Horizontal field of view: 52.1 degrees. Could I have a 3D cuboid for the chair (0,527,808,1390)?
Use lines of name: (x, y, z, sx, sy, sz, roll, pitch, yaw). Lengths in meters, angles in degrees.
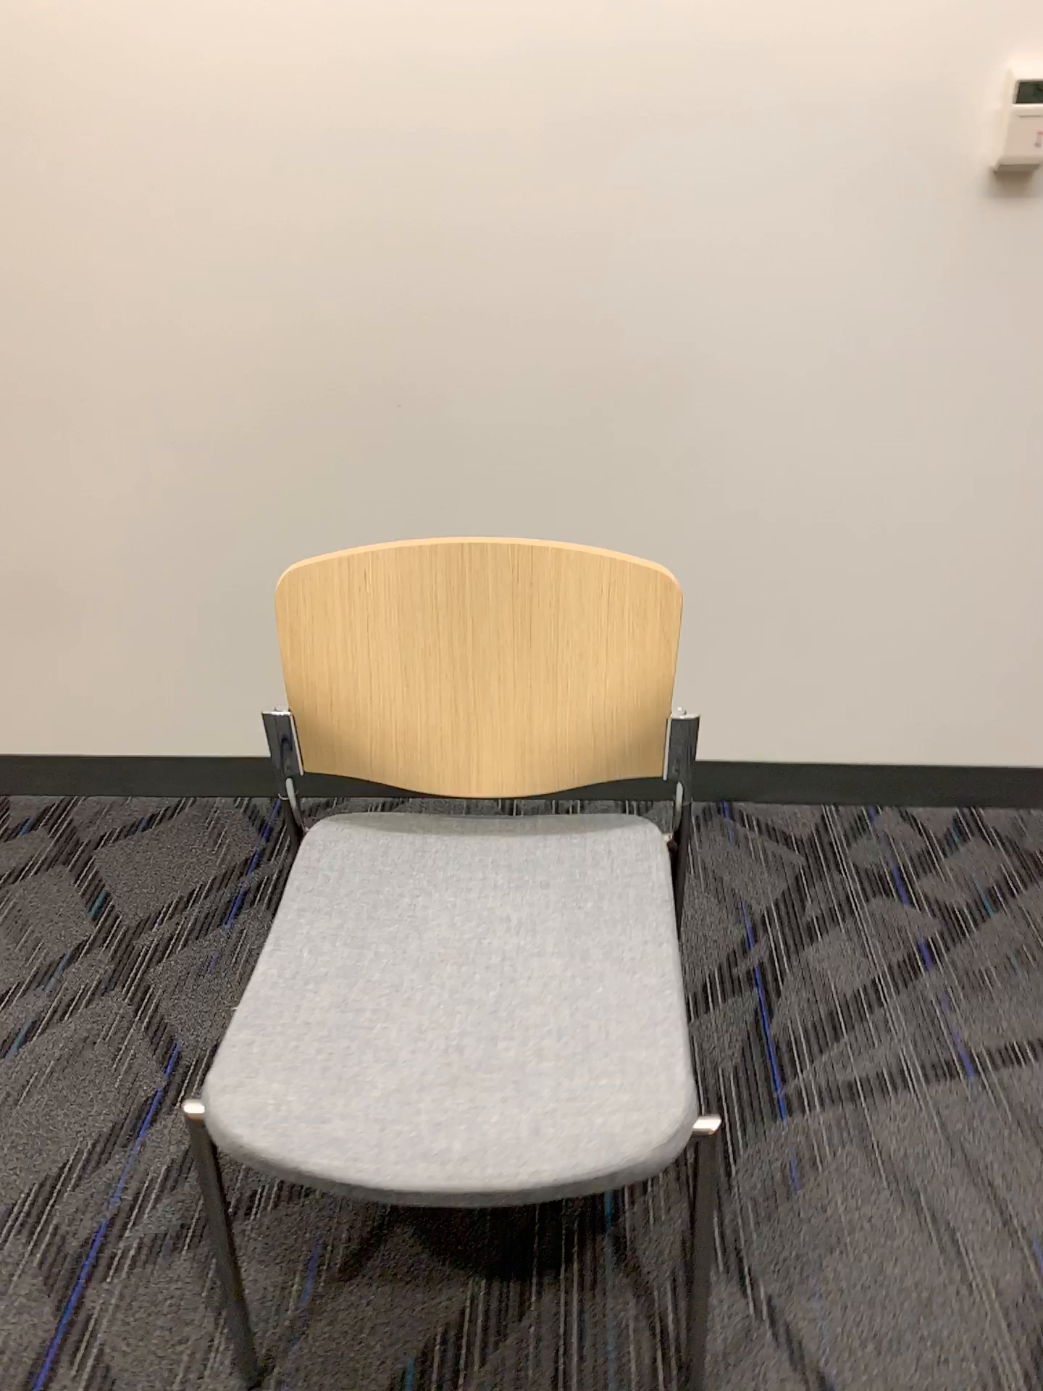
chair: (-0.073, 0.264, 1.096, 0.554, 0.704, 0.540, 0, 31, 3)
